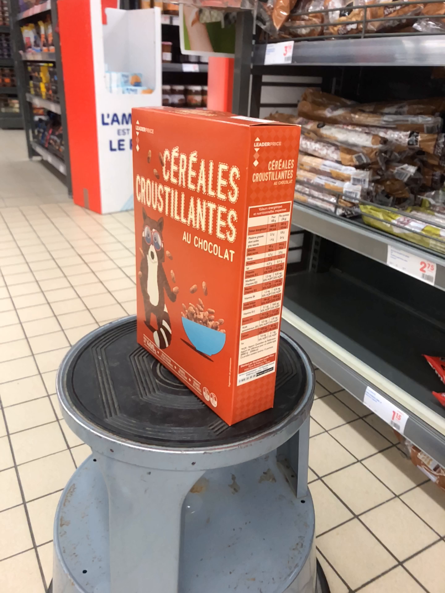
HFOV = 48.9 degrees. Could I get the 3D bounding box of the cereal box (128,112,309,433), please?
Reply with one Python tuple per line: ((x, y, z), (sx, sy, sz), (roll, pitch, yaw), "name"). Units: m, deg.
((-0.019, -0.035, 0.478), (0.060, 0.259, 0.190), (-14, 29, -33), "cereal box")
